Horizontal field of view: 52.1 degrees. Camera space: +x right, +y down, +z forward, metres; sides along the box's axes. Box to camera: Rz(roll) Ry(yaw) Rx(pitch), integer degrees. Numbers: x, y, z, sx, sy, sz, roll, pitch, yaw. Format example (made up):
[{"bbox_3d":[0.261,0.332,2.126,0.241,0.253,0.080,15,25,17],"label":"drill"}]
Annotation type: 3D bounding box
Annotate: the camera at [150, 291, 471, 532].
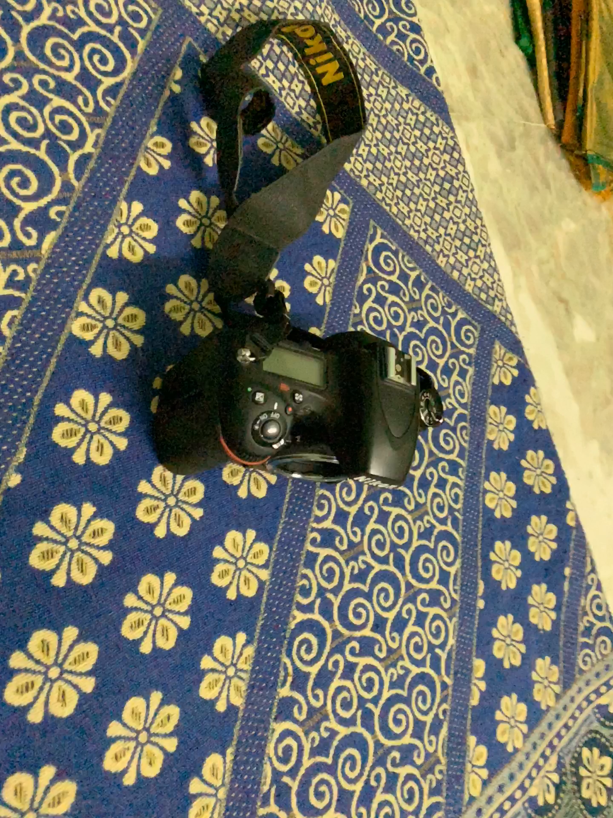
[{"bbox_3d":[0.007,0.014,0.352,0.151,0.090,0.088,16,68,-36],"label":"camera"}]
